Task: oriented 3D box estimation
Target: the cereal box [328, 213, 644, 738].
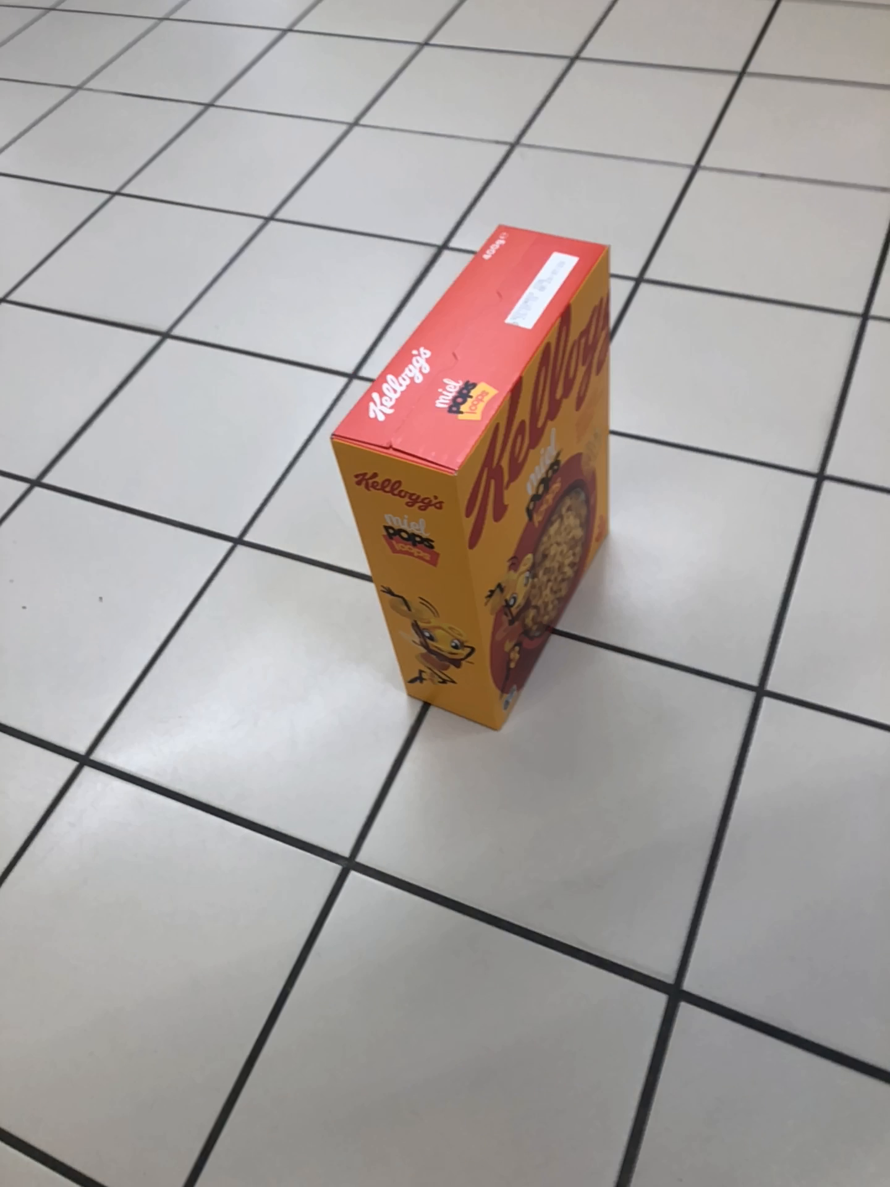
[{"bbox_3d":[0.039,-0.064,0.596,0.090,0.239,0.191,18,57,20],"label":"cereal box"}]
